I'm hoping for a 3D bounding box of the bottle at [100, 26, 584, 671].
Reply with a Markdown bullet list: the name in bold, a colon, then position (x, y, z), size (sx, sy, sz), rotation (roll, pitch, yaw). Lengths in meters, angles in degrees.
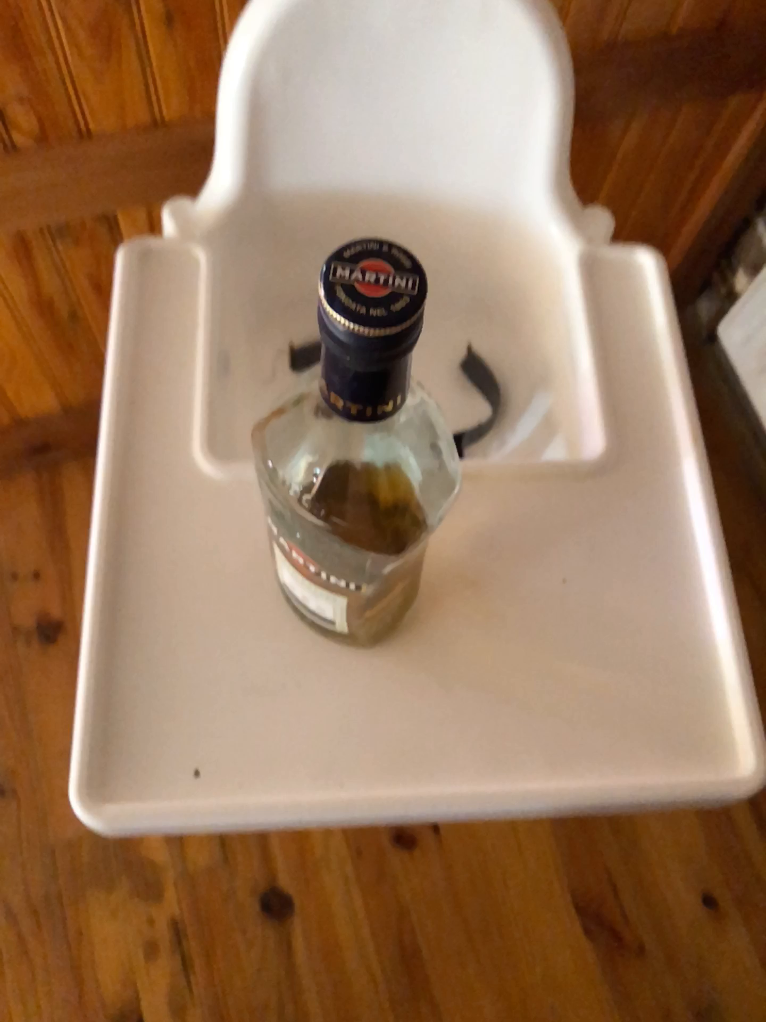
- **bottle**: position (-0.022, -0.027, 0.384), size (0.110, 0.319, 0.080), rotation (43, 71, 12)
